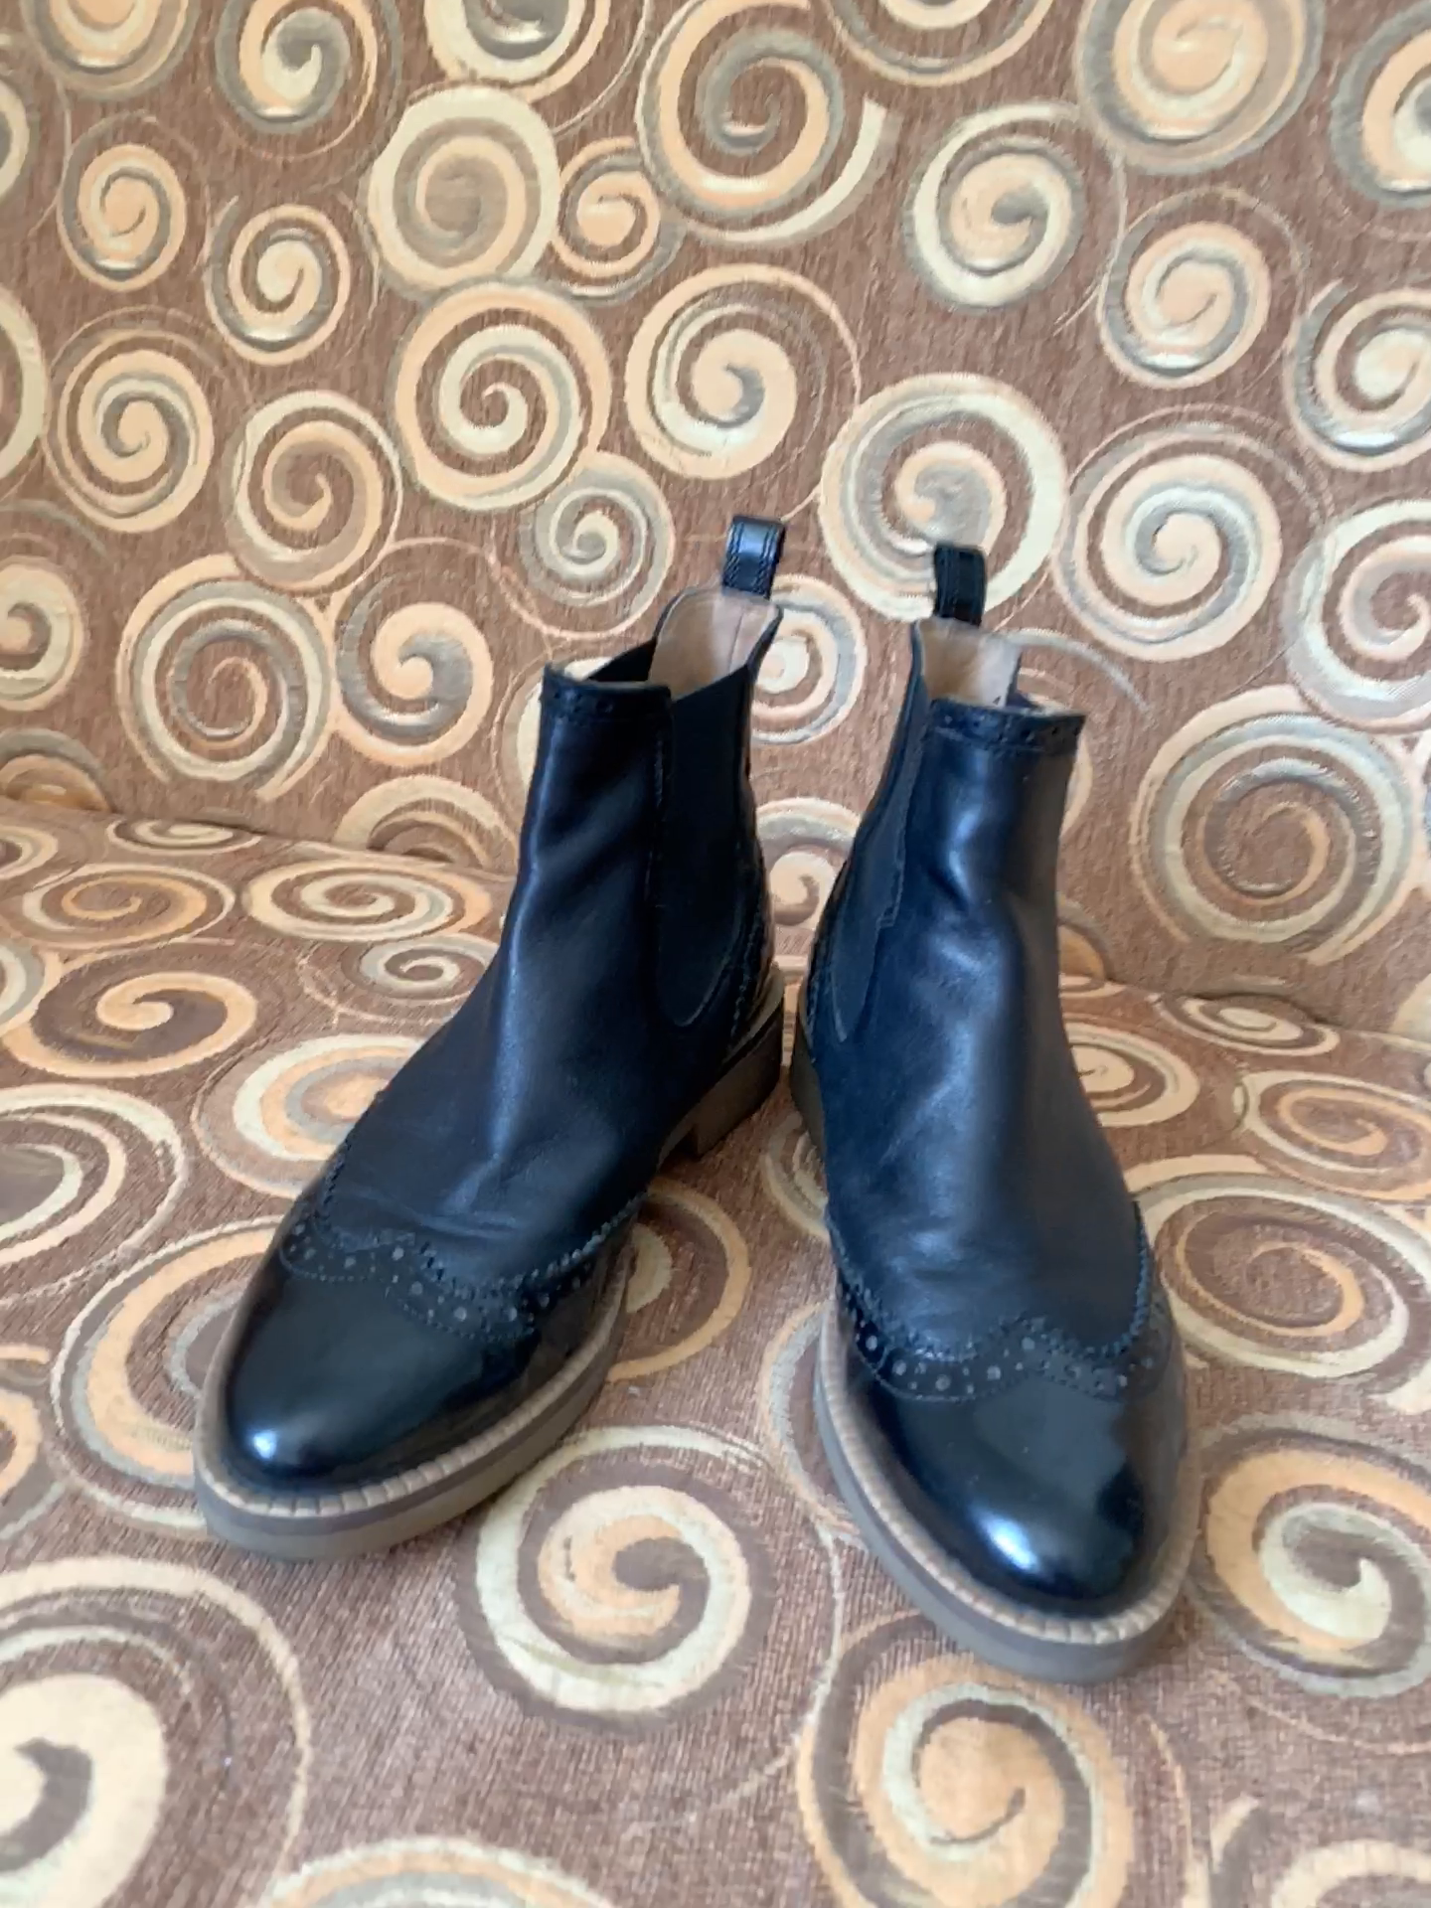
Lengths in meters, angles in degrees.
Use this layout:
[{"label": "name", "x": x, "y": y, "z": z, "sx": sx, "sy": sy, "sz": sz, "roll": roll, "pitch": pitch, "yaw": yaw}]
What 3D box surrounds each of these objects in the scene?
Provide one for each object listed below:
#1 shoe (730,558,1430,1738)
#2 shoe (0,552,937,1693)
[{"label": "shoe", "x": 0.065, "y": 0.014, "z": 0.368, "sx": 0.100, "sy": 0.139, "sz": 0.292, "roll": 2, "pitch": 31, "yaw": -4}, {"label": "shoe", "x": -0.043, "y": 0.010, "z": 0.348, "sx": 0.100, "sy": 0.139, "sz": 0.241, "roll": 17, "pitch": 33, "yaw": 21}]
